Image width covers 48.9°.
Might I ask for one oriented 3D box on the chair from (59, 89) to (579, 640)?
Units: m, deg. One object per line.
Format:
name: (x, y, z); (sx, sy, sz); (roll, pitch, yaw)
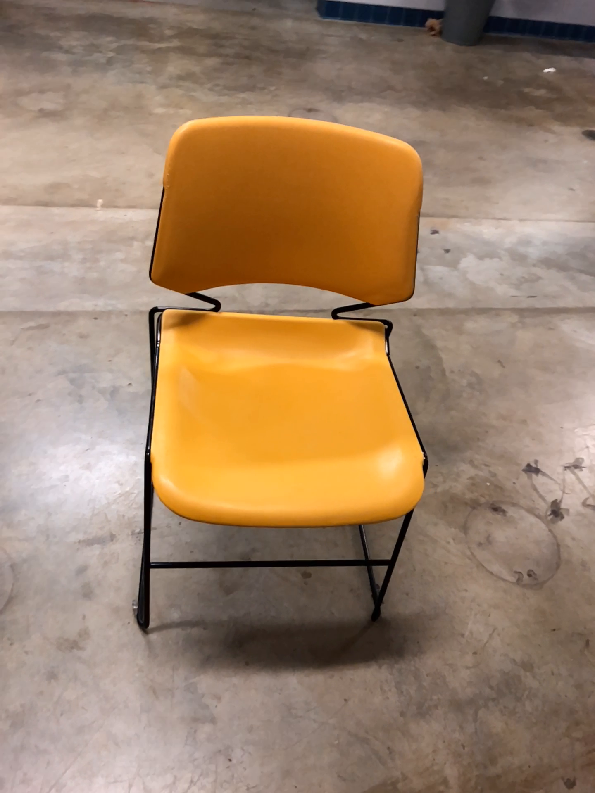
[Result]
chair: (-0.034, -0.030, 1.186); (0.577, 0.735, 0.618); (2, 45, -9)
